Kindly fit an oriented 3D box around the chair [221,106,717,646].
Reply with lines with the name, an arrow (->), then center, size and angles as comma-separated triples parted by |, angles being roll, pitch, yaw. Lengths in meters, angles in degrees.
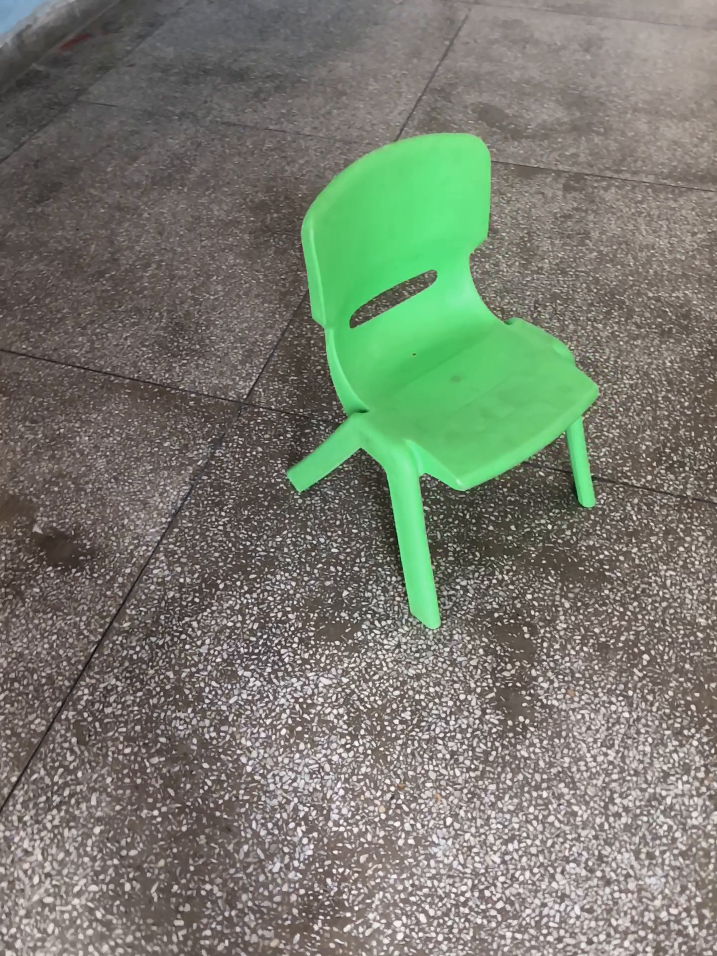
chair -> 0.116, -0.133, 1.035 | 0.370, 0.459, 0.391 | -33, 57, -24
